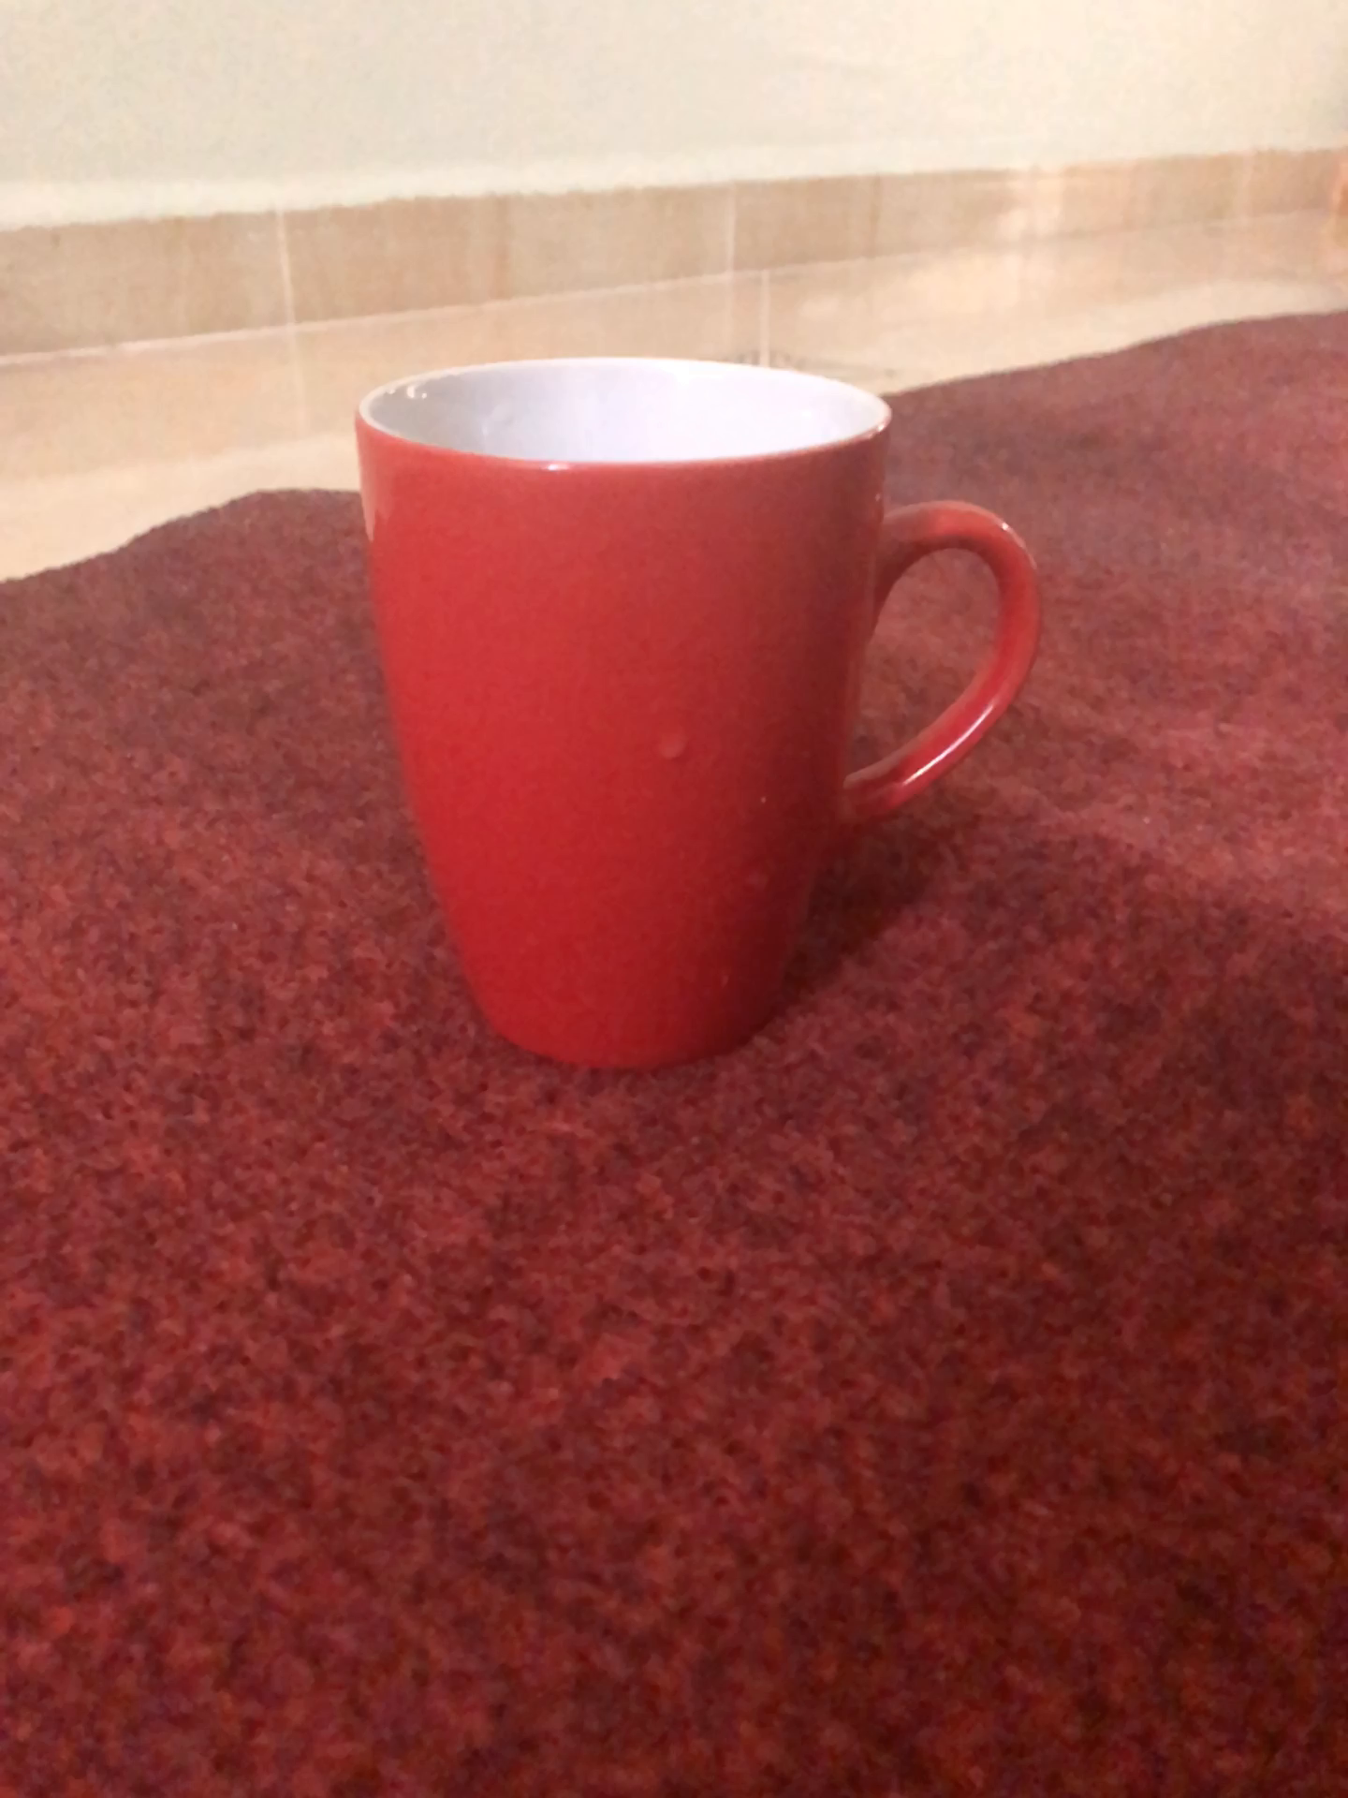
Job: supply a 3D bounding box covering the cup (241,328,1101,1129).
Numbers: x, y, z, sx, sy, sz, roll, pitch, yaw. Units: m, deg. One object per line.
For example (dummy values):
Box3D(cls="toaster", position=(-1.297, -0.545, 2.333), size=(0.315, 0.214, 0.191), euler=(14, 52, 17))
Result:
Box3D(cls="cup", position=(0.000, -0.038, 0.254), size=(0.109, 0.094, 0.078), euler=(-19, 34, -31))
